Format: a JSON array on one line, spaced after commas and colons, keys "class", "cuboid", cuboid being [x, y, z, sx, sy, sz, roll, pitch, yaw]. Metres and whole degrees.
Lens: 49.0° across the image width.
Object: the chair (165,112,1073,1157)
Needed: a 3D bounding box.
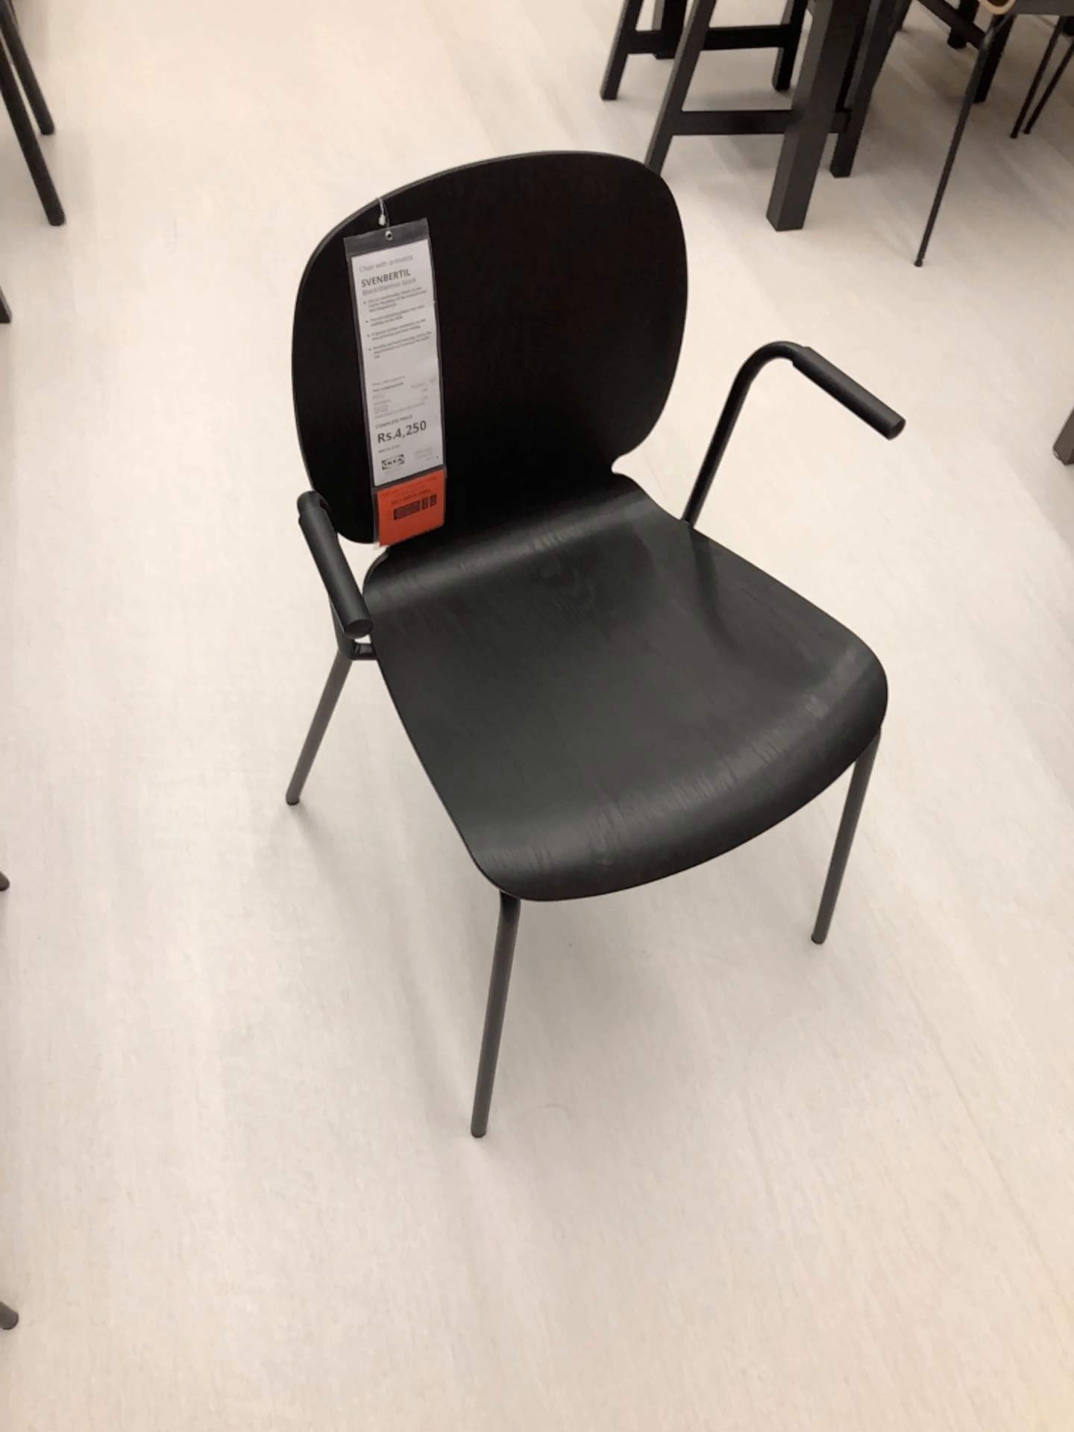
[{"class": "chair", "cuboid": [0.052, -0.064, 1.151, 0.531, 0.686, 0.582, -21, 58, -20]}]
